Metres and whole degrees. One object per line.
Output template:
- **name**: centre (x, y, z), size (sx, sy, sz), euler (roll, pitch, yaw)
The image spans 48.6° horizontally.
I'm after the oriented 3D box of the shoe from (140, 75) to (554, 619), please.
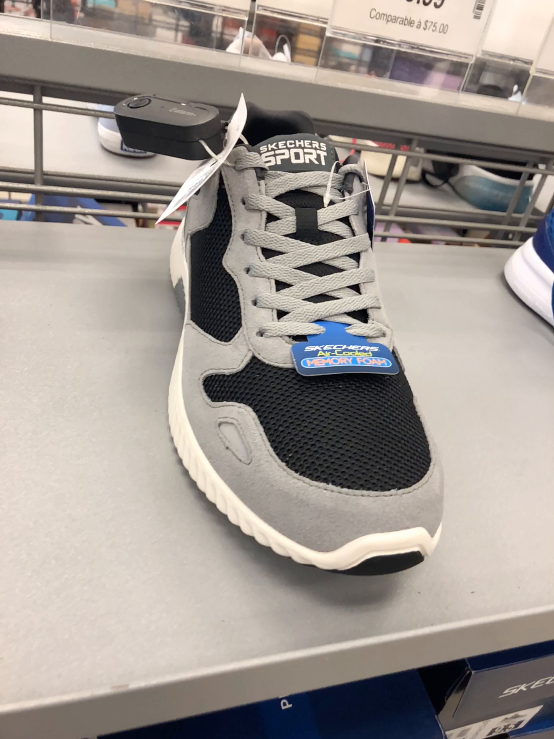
- **shoe**: centre (0.000, -0.046, 0.320), size (0.120, 0.119, 0.302), euler (3, 35, -17)
